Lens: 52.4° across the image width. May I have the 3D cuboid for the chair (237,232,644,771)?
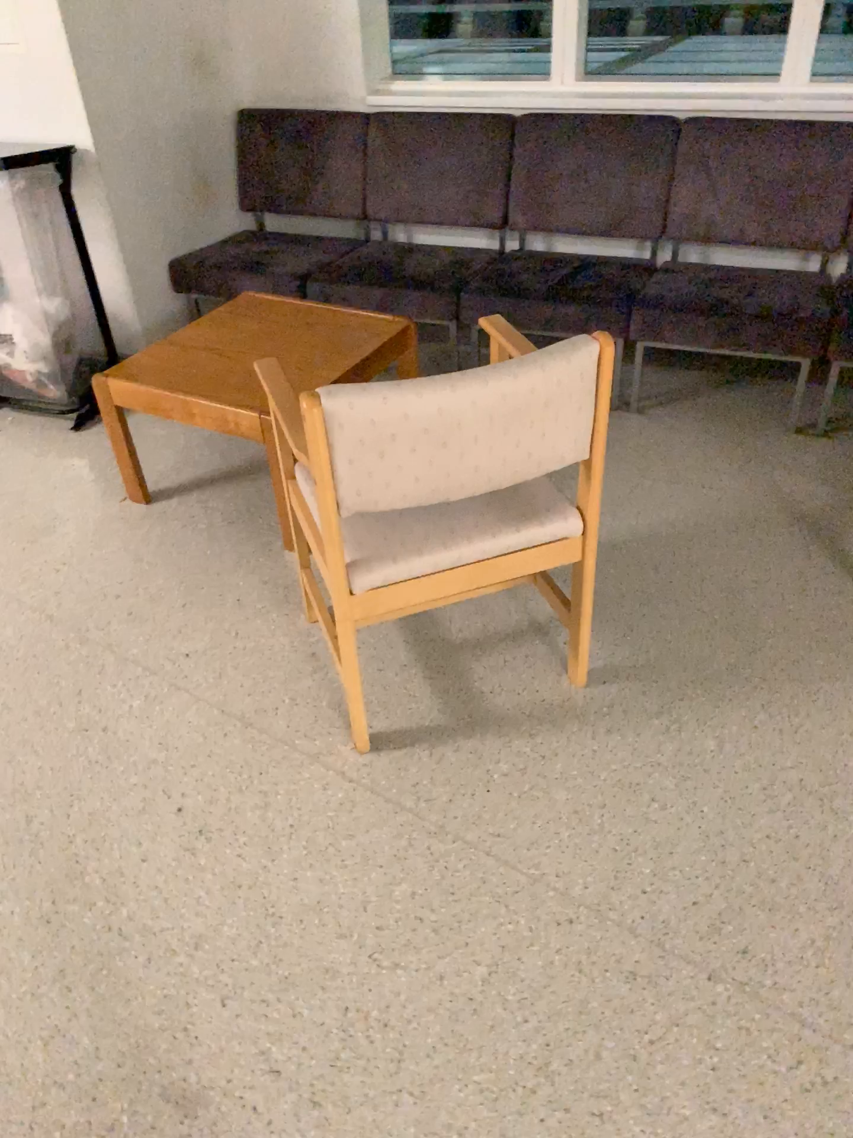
[{"bbox_3d":[0.011,-0.137,1.619,0.510,0.753,0.514,-14,38,-14],"label":"chair"}]
